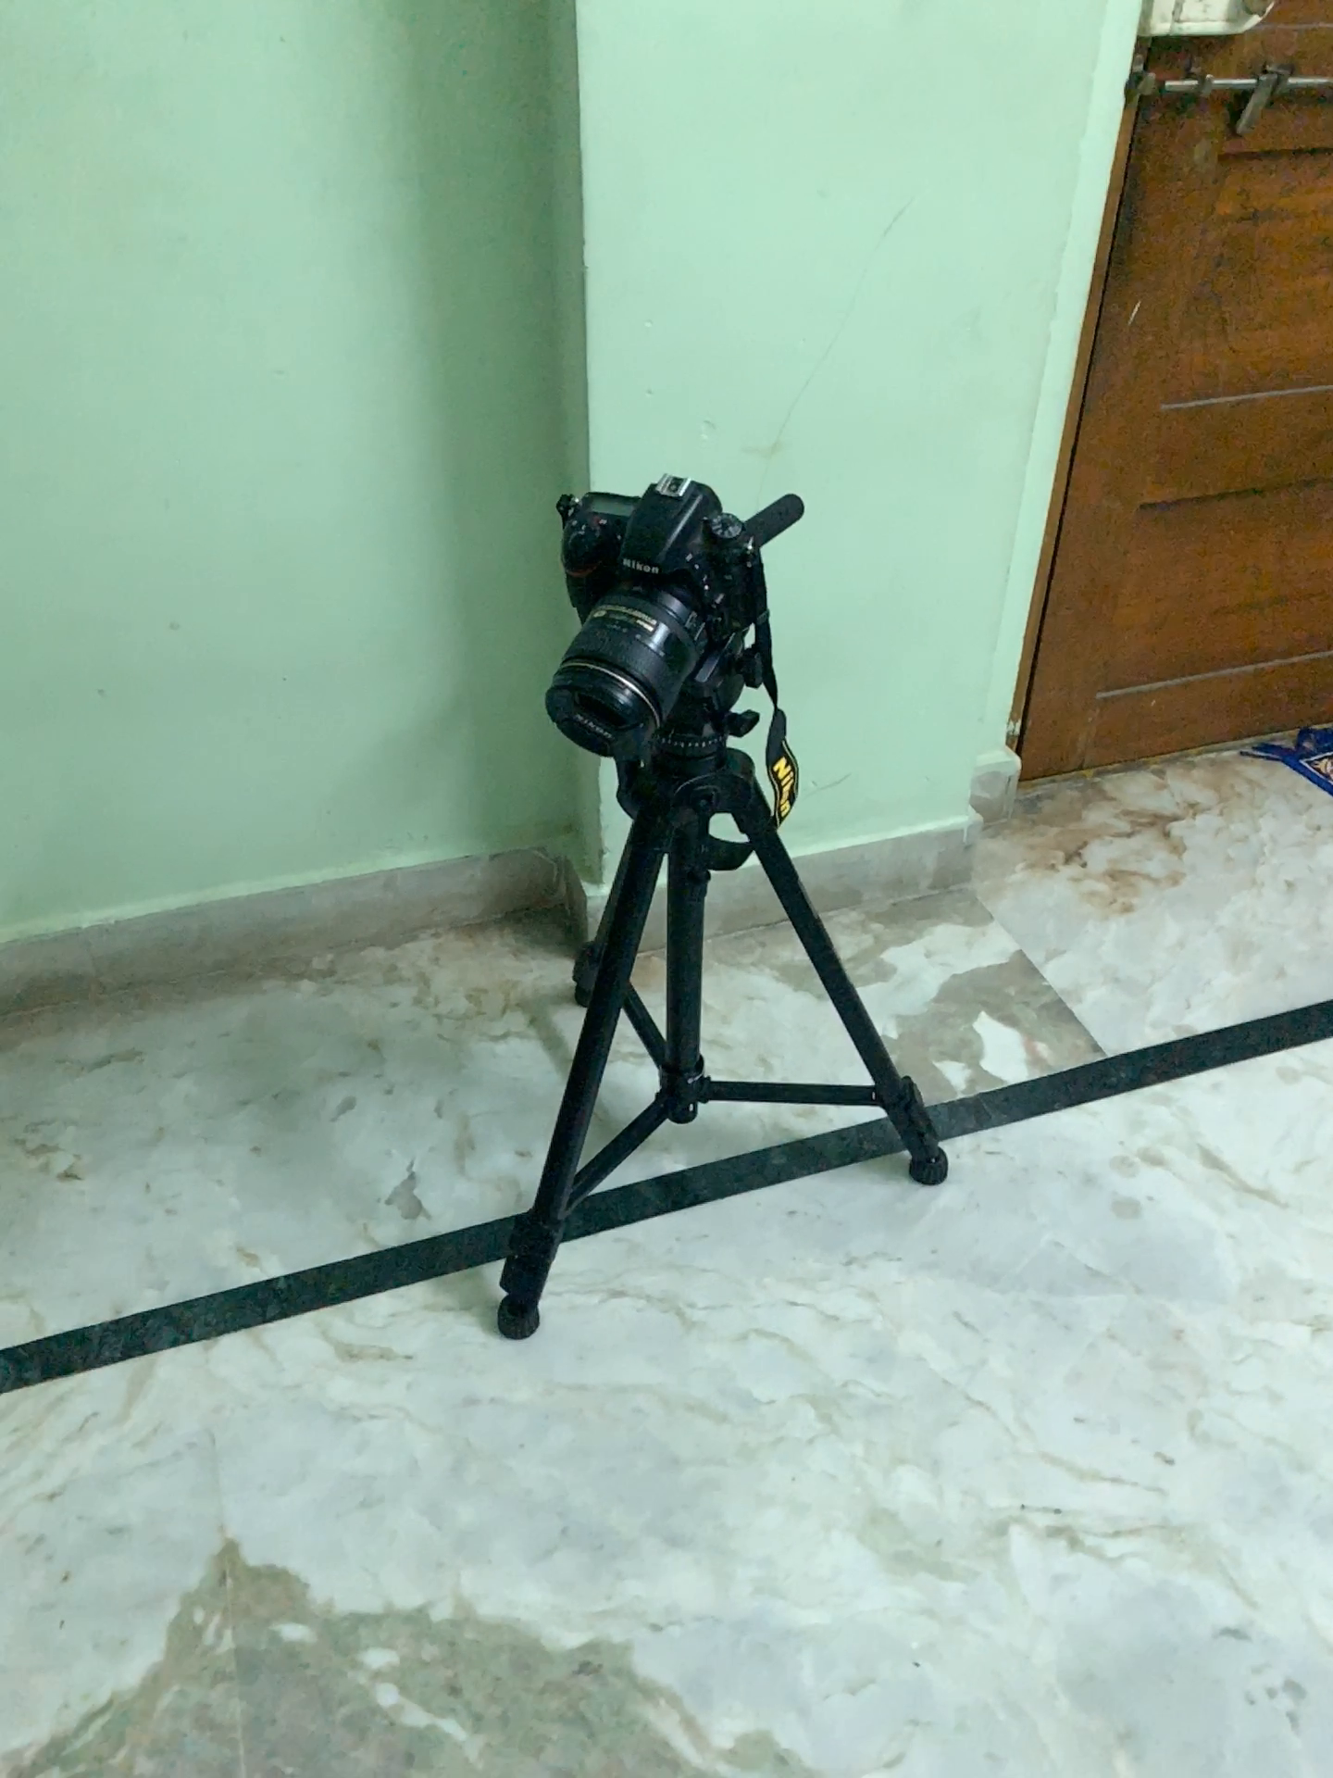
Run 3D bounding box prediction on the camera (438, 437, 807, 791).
[{"bbox_3d":[-0.024,-0.191,0.927,0.170,0.110,0.180,18,65,22],"label":"camera"}]
